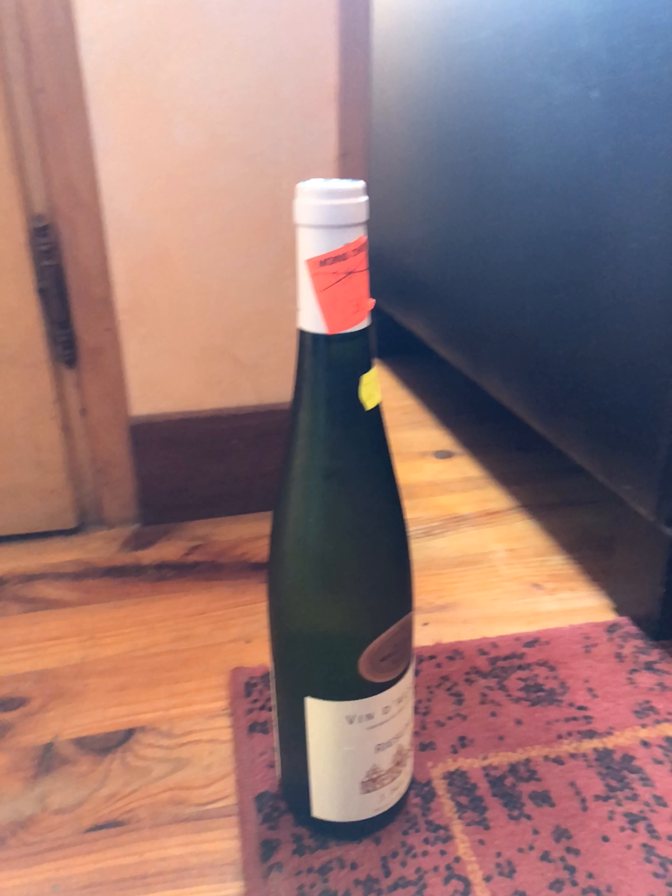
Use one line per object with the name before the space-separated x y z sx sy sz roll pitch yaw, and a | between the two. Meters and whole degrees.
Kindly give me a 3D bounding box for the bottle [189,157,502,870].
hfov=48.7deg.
bottle | 0.005 0.035 0.330 0.080 0.298 0.080 0 25 0
